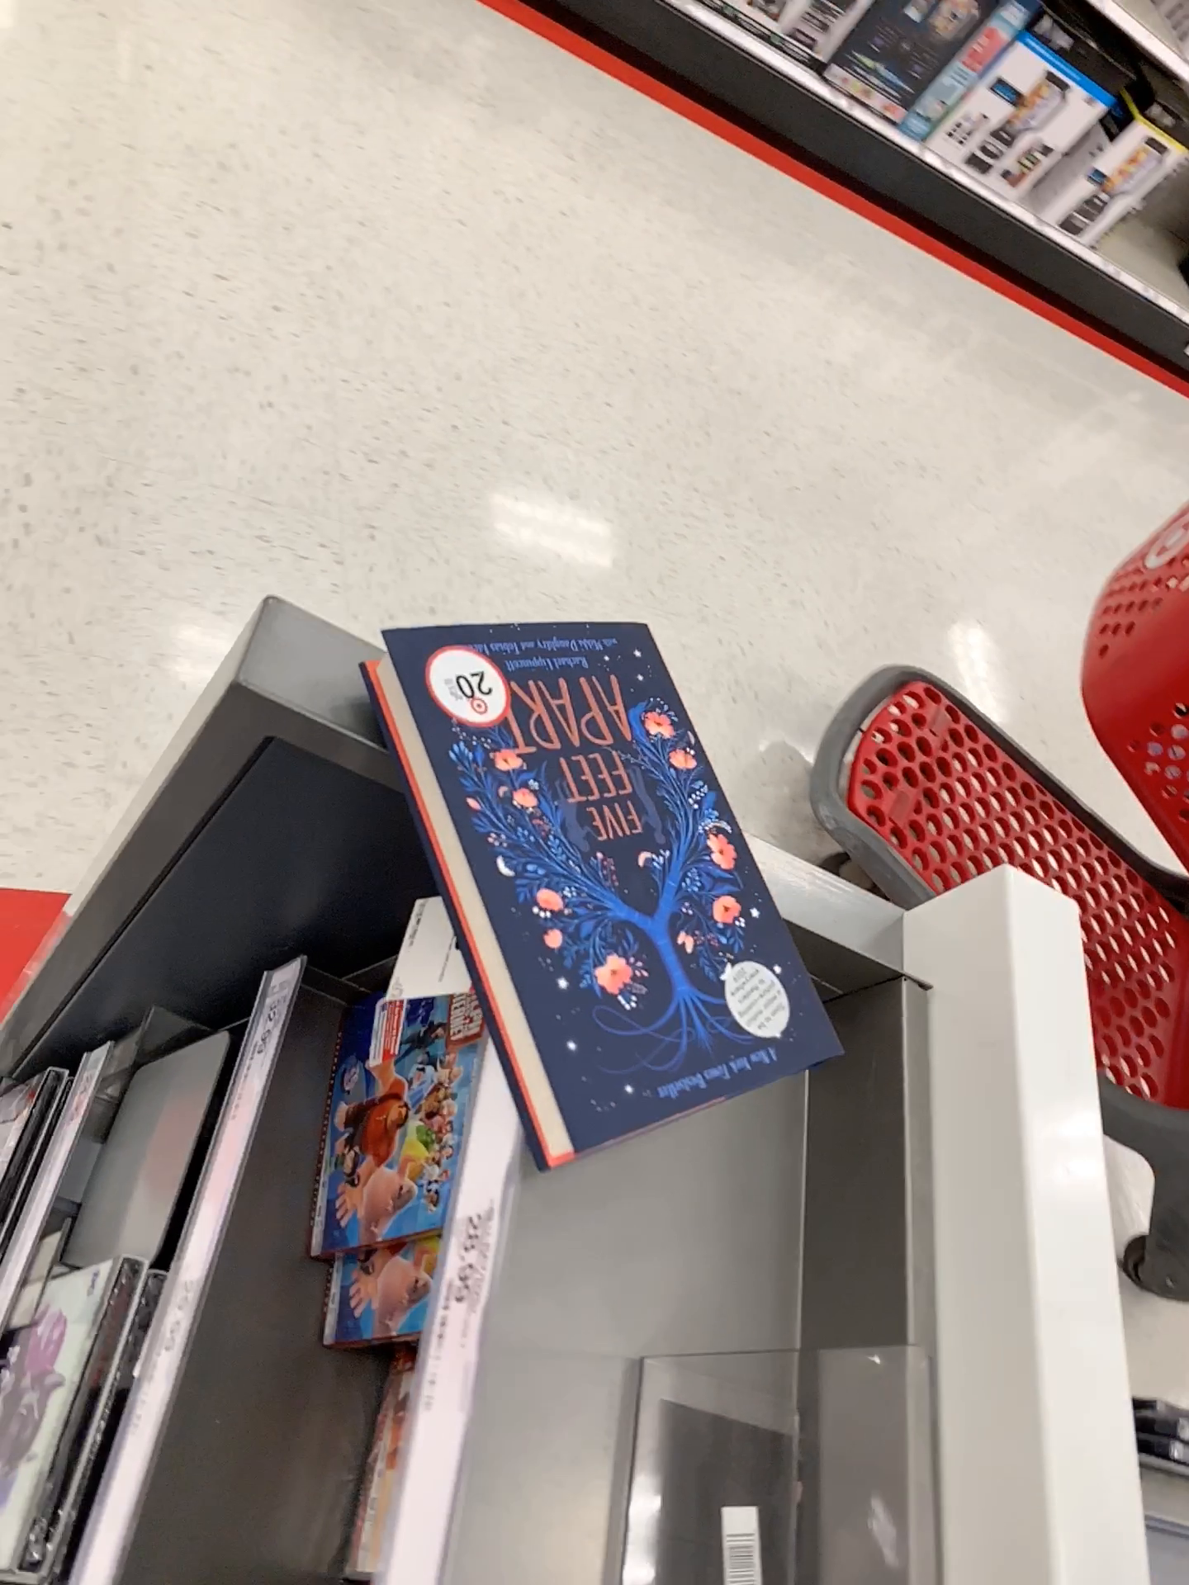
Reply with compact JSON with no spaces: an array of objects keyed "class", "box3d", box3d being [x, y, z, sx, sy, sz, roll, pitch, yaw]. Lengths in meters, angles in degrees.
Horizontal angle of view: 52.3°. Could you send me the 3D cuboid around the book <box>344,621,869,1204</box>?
[{"class":"book","box3d":[0.006,0.031,0.488,0.151,0.028,0.220,-7,66,-41]}]
